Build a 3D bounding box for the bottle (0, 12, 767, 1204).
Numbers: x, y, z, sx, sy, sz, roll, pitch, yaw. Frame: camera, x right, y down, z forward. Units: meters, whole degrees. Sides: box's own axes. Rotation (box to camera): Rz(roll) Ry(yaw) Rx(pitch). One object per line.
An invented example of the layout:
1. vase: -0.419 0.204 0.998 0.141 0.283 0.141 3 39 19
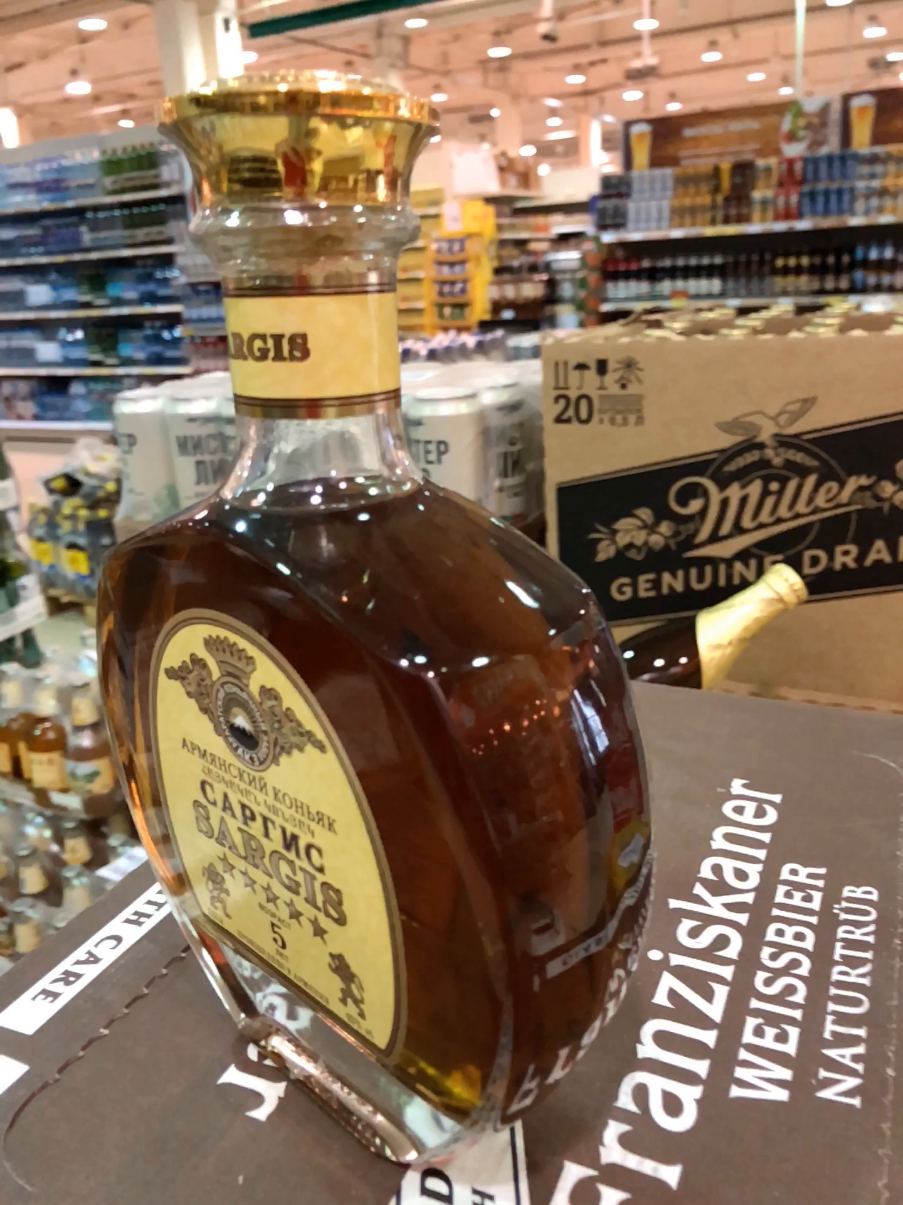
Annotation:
1. bottle: -0.019 0.012 0.212 0.140 0.209 0.070 13 25 42
